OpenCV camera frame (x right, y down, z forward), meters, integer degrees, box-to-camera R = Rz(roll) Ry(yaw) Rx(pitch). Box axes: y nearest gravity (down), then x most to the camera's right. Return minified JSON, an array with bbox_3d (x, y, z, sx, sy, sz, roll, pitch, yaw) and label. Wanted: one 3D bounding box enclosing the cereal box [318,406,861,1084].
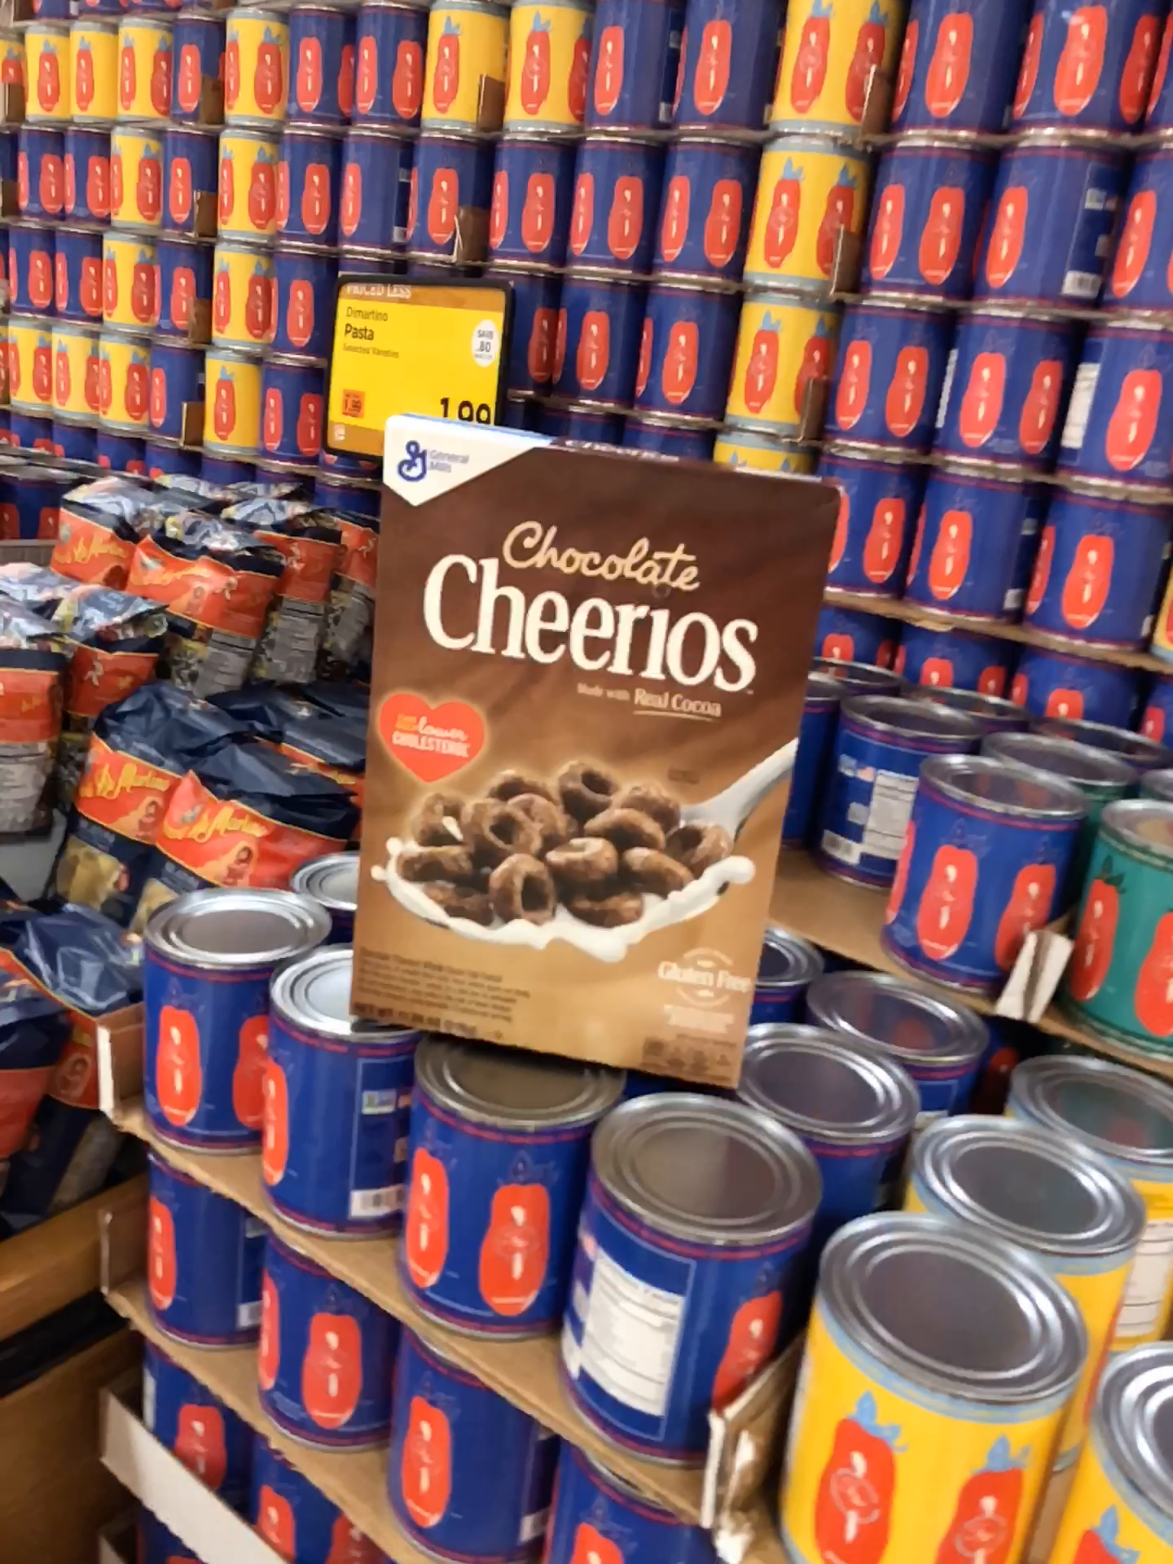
[{"bbox_3d":[-0.006,-0.015,0.590,0.210,0.278,0.050,9,17,6],"label":"cereal box"}]
